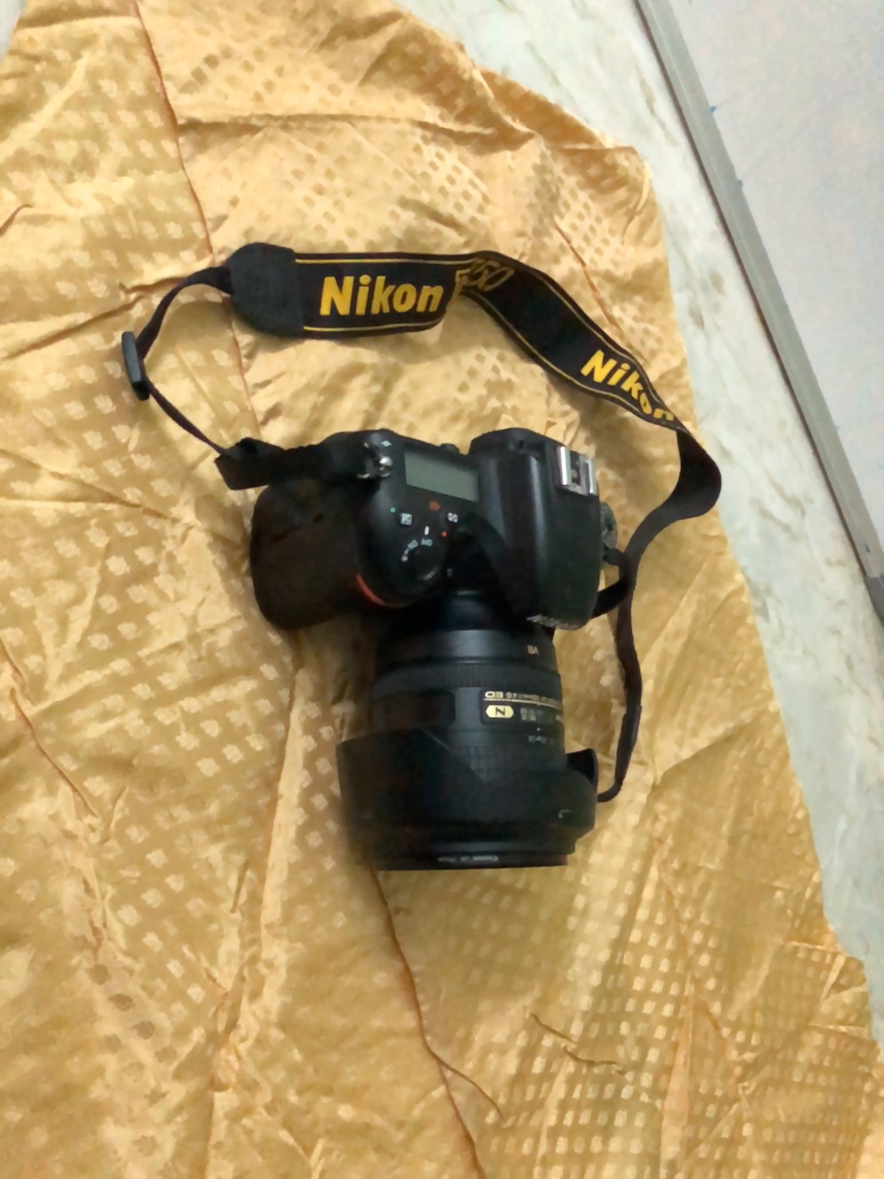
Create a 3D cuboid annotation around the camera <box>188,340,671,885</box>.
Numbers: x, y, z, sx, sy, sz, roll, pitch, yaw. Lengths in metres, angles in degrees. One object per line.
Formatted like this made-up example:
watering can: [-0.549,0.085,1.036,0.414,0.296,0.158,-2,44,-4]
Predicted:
camera: [-0.004,0.019,0.389,0.149,0.109,0.170,9,75,-41]
